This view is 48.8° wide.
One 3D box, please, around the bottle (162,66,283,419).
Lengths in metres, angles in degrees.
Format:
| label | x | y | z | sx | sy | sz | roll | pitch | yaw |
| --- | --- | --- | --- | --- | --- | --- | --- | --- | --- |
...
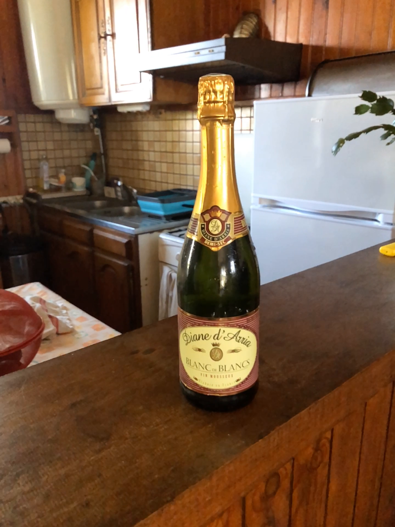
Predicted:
| label | x | y | z | sx | sy | sz | roll | pitch | yaw |
| --- | --- | --- | --- | --- | --- | --- | --- | --- | --- |
| bottle | 0.028 | -0.017 | 0.414 | 0.090 | 0.299 | 0.100 | 3 | 17 | 11 |
